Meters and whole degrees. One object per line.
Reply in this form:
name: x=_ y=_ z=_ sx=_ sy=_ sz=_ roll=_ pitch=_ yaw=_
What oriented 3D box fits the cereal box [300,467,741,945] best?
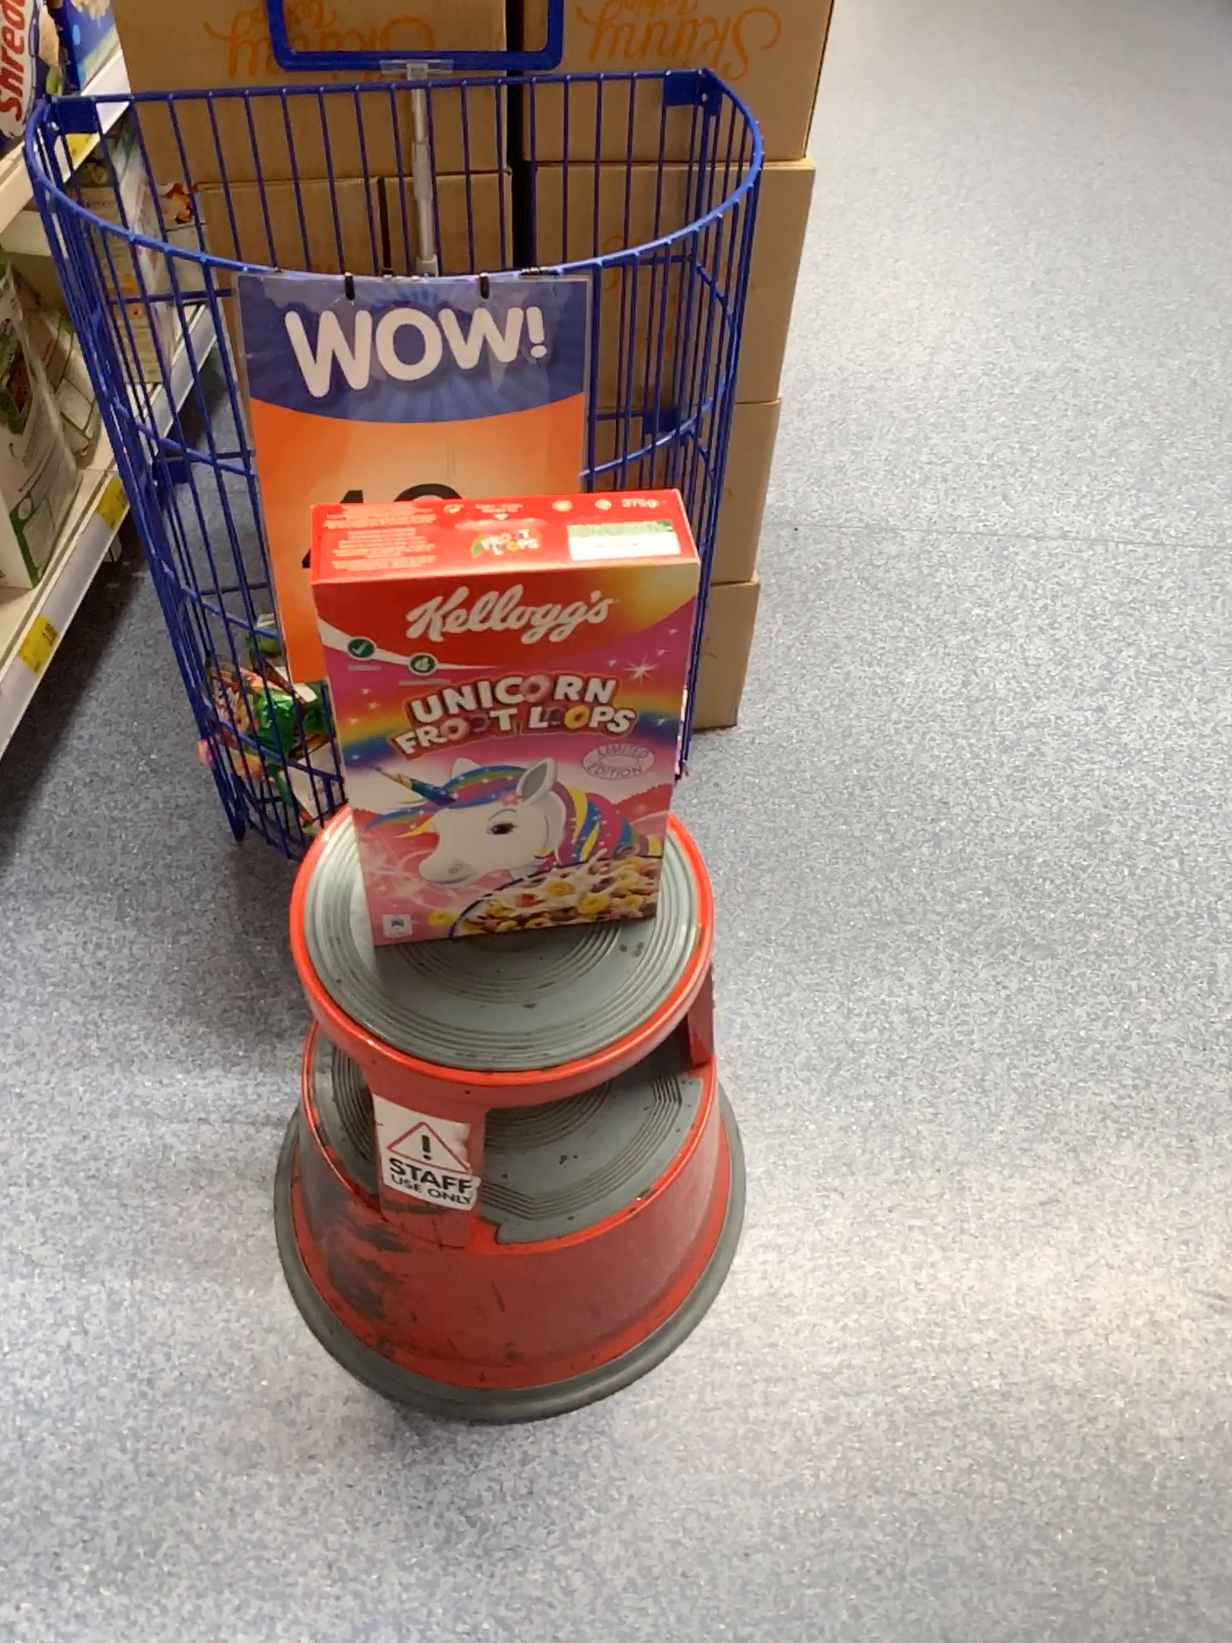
cereal box: x=-0.056 y=-0.054 z=0.723 sx=0.210 sy=0.287 sz=0.071 roll=-6 pitch=49 yaw=-9
